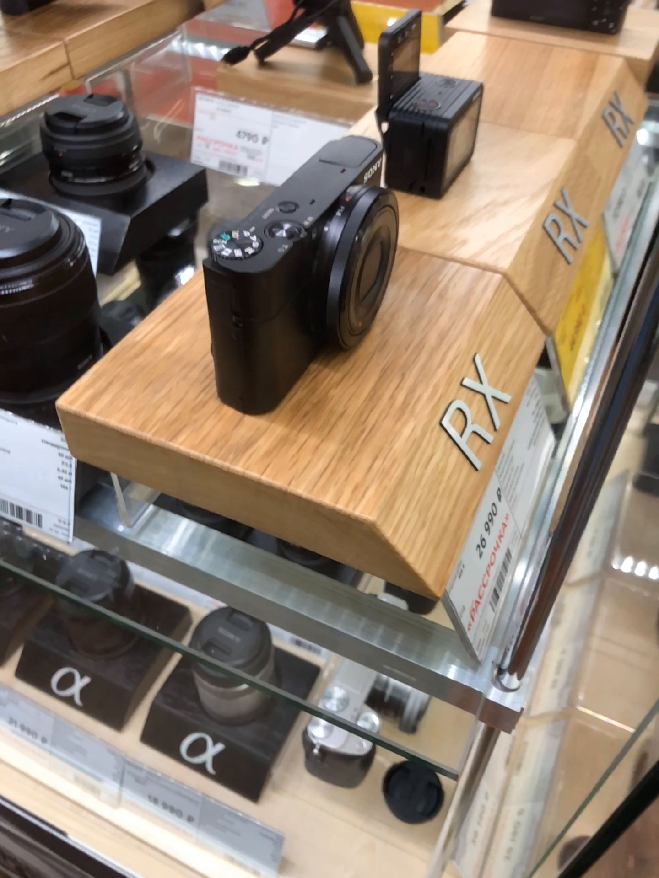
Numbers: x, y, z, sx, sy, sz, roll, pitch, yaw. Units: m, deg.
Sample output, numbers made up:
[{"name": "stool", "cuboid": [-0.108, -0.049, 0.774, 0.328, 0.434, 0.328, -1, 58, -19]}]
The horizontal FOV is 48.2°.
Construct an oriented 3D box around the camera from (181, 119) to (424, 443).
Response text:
[{"name": "camera", "cuboid": [-0.005, -0.060, 0.264, 0.037, 0.062, 0.106, 19, 48, 16]}]
